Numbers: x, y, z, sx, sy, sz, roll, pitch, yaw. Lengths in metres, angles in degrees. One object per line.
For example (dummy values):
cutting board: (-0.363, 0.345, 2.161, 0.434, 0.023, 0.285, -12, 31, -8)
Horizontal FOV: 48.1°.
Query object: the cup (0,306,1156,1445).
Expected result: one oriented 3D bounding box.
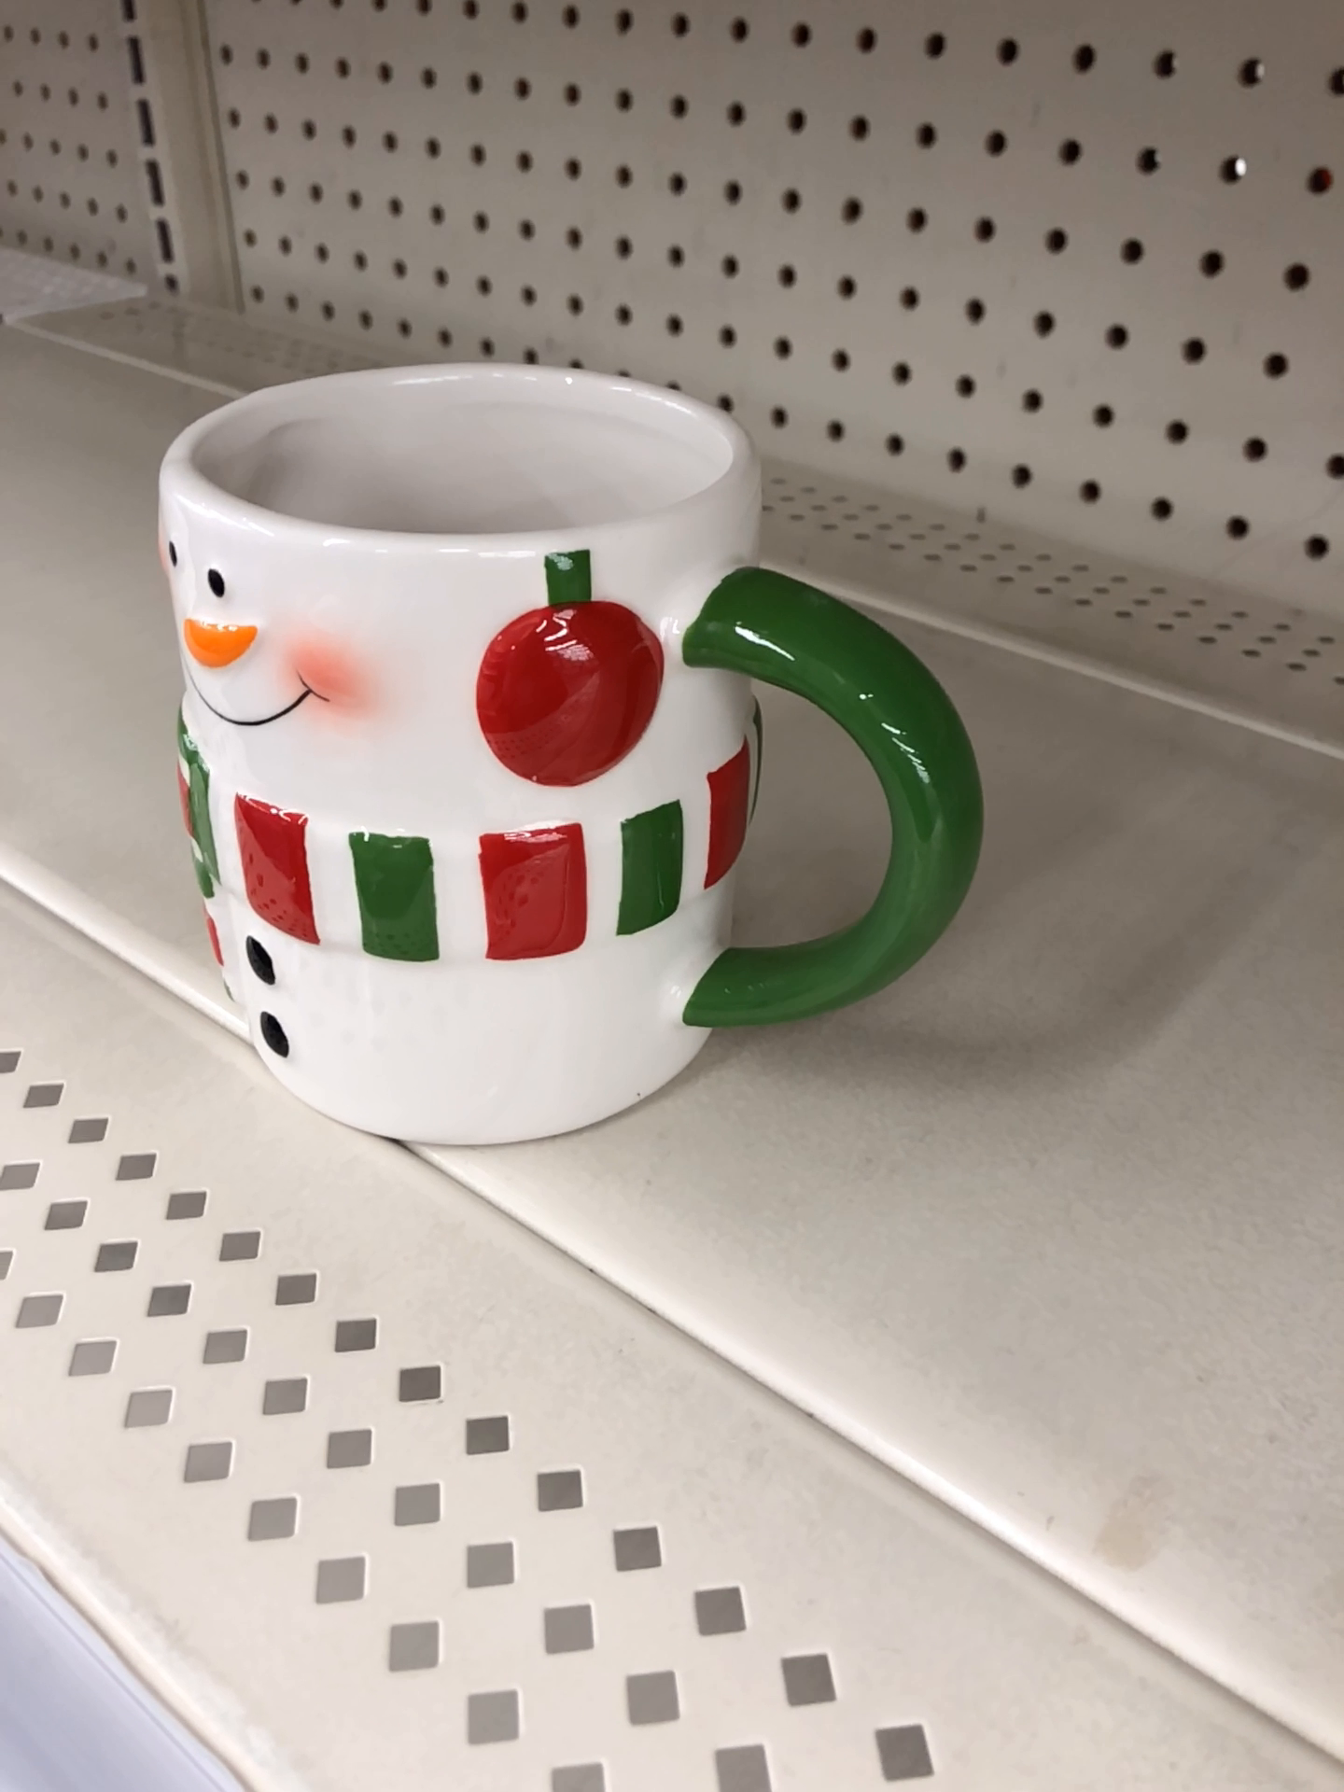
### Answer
cup: (-0.016, -0.015, 0.230, 0.130, 0.110, 0.090, 22, 39, 27)
